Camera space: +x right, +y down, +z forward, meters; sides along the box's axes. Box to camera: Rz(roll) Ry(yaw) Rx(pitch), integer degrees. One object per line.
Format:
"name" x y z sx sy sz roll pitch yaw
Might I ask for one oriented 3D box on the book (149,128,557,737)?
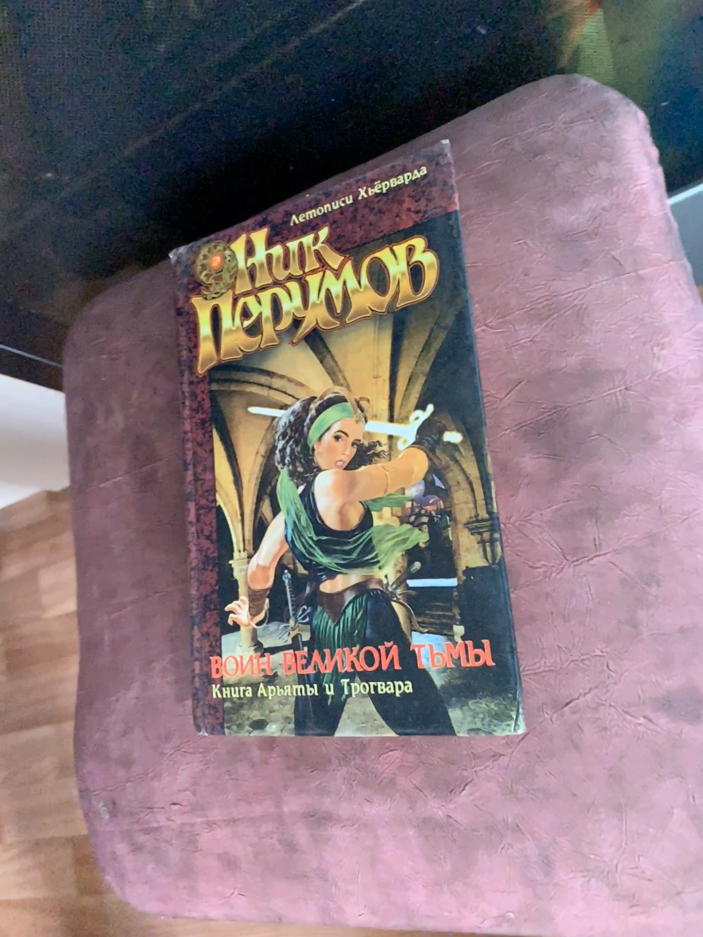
"book" -0.010 -0.007 0.285 0.140 0.037 0.205 -11 76 26
